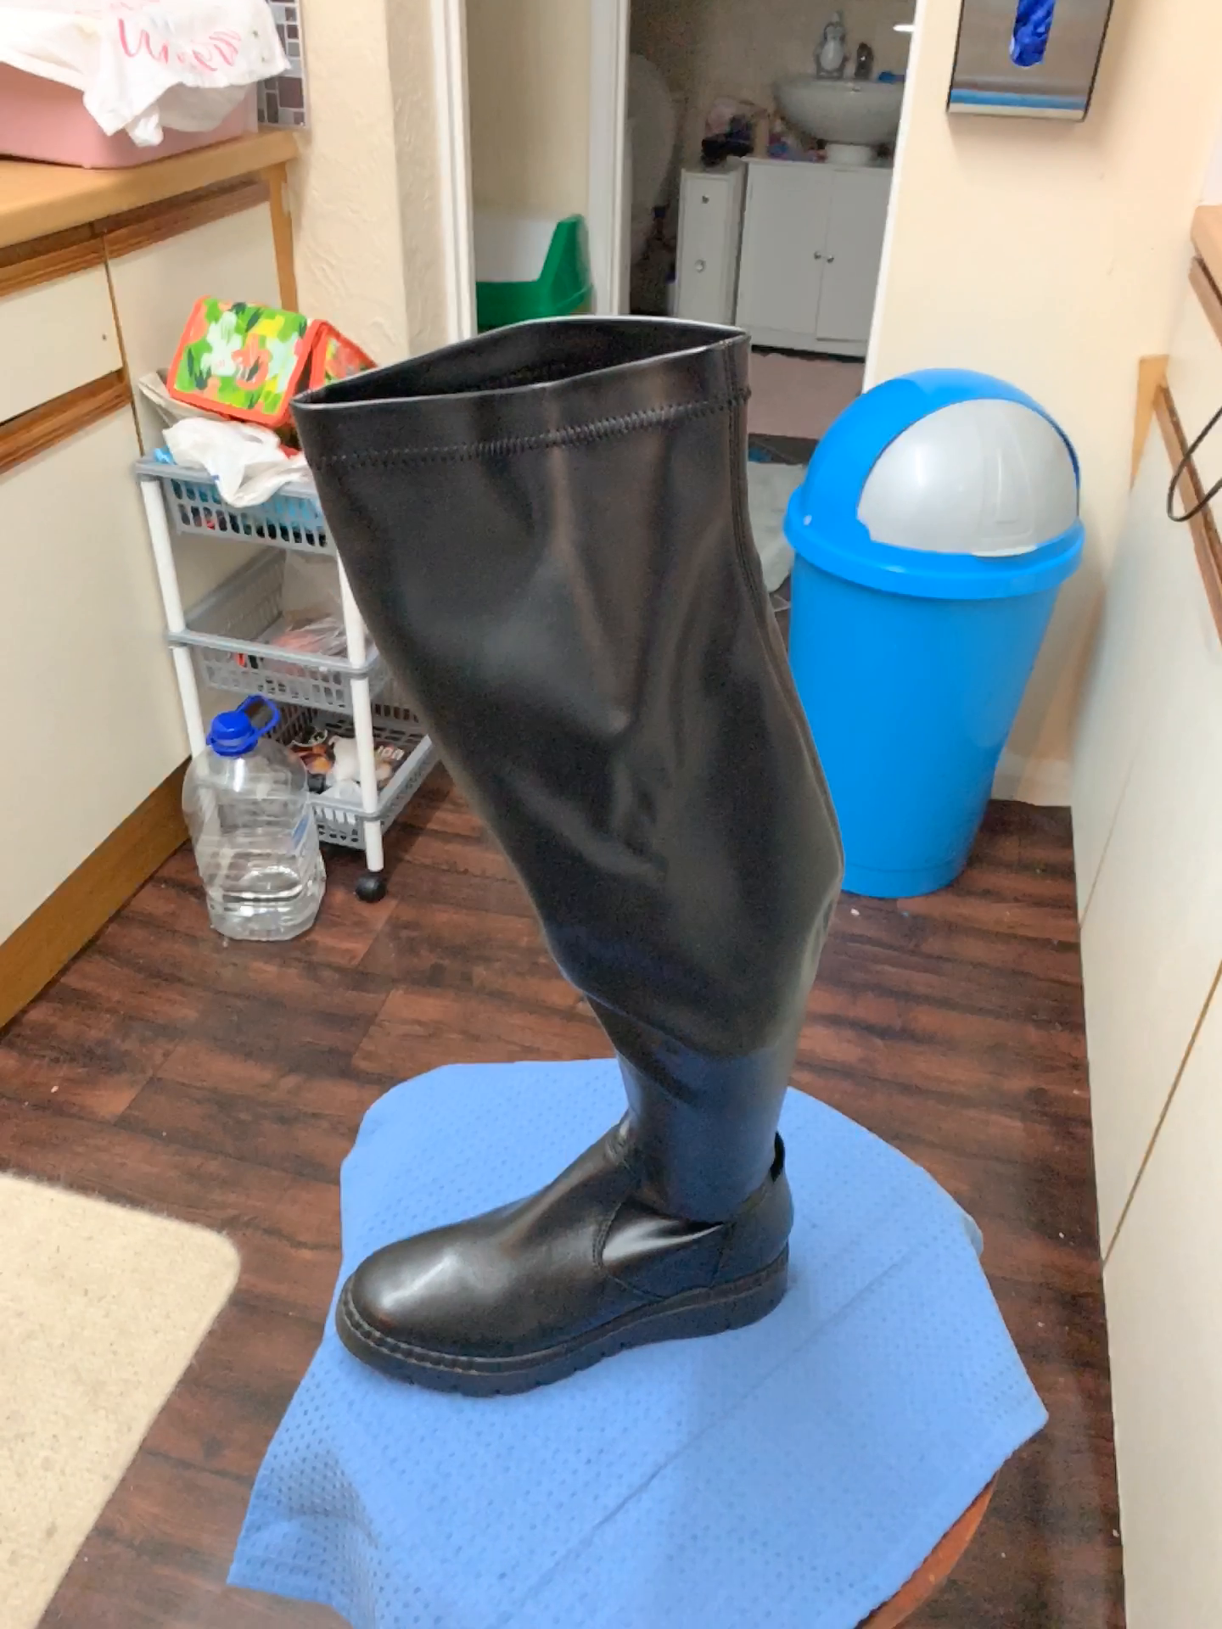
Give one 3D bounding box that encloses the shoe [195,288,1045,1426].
[{"bbox_3d":[-0.011,0.055,0.577,0.271,0.535,0.107,-6,35,-13],"label":"shoe"}]
